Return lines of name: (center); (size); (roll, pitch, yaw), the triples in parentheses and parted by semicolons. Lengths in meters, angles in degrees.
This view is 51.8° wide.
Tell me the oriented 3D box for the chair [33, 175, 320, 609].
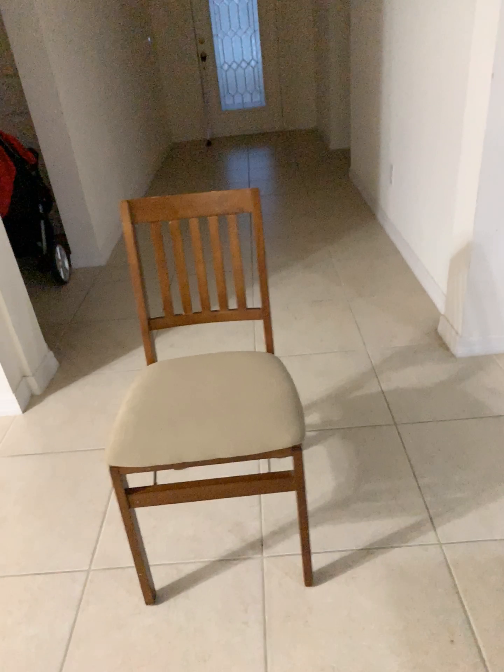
chair: (-0.104, 0.130, 1.329); (0.450, 0.882, 0.596); (-5, 30, 2)
